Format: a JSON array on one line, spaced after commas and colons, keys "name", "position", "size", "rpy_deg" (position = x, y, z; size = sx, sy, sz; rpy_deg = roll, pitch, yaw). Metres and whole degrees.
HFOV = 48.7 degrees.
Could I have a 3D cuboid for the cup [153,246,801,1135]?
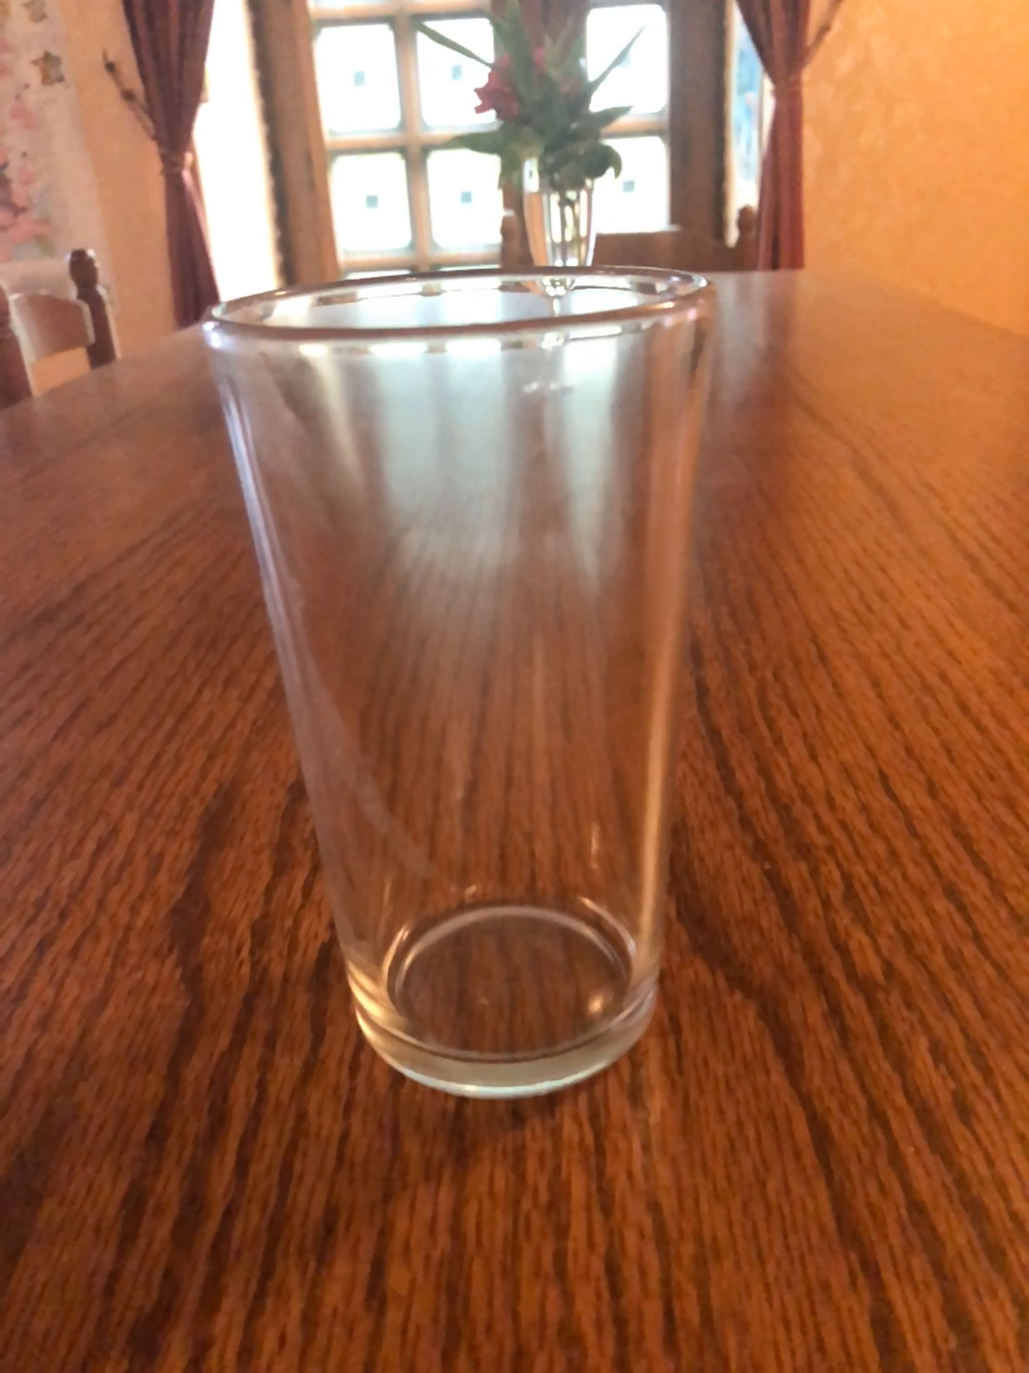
[{"name": "cup", "position": [-0.005, -0.006, 0.226], "size": [0.089, 0.144, 0.092], "rpy_deg": [-3, 24, 1]}]
